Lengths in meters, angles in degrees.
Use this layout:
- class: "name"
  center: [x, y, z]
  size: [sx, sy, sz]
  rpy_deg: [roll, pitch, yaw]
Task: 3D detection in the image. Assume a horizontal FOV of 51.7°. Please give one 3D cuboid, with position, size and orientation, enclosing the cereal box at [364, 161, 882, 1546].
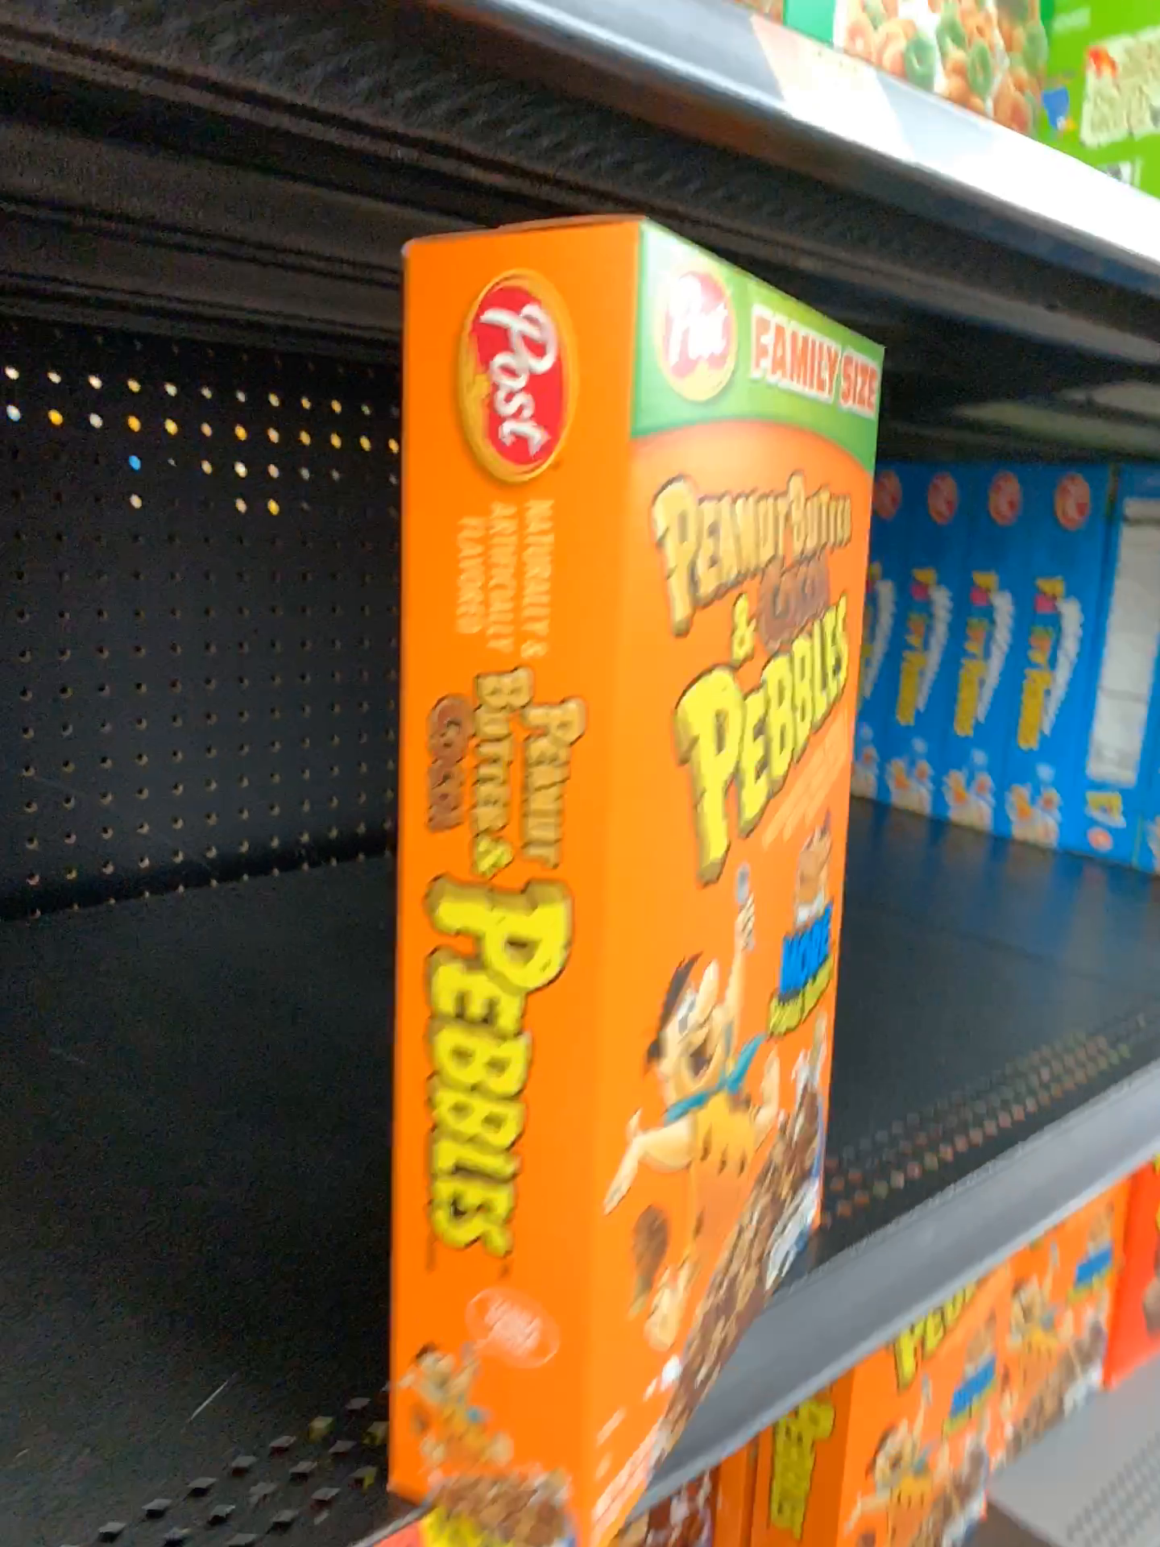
- class: "cereal box"
  center: [0.022, 0.027, 0.366]
  size: [0.060, 0.339, 0.200]
  rpy_deg: [8, 13, 28]
